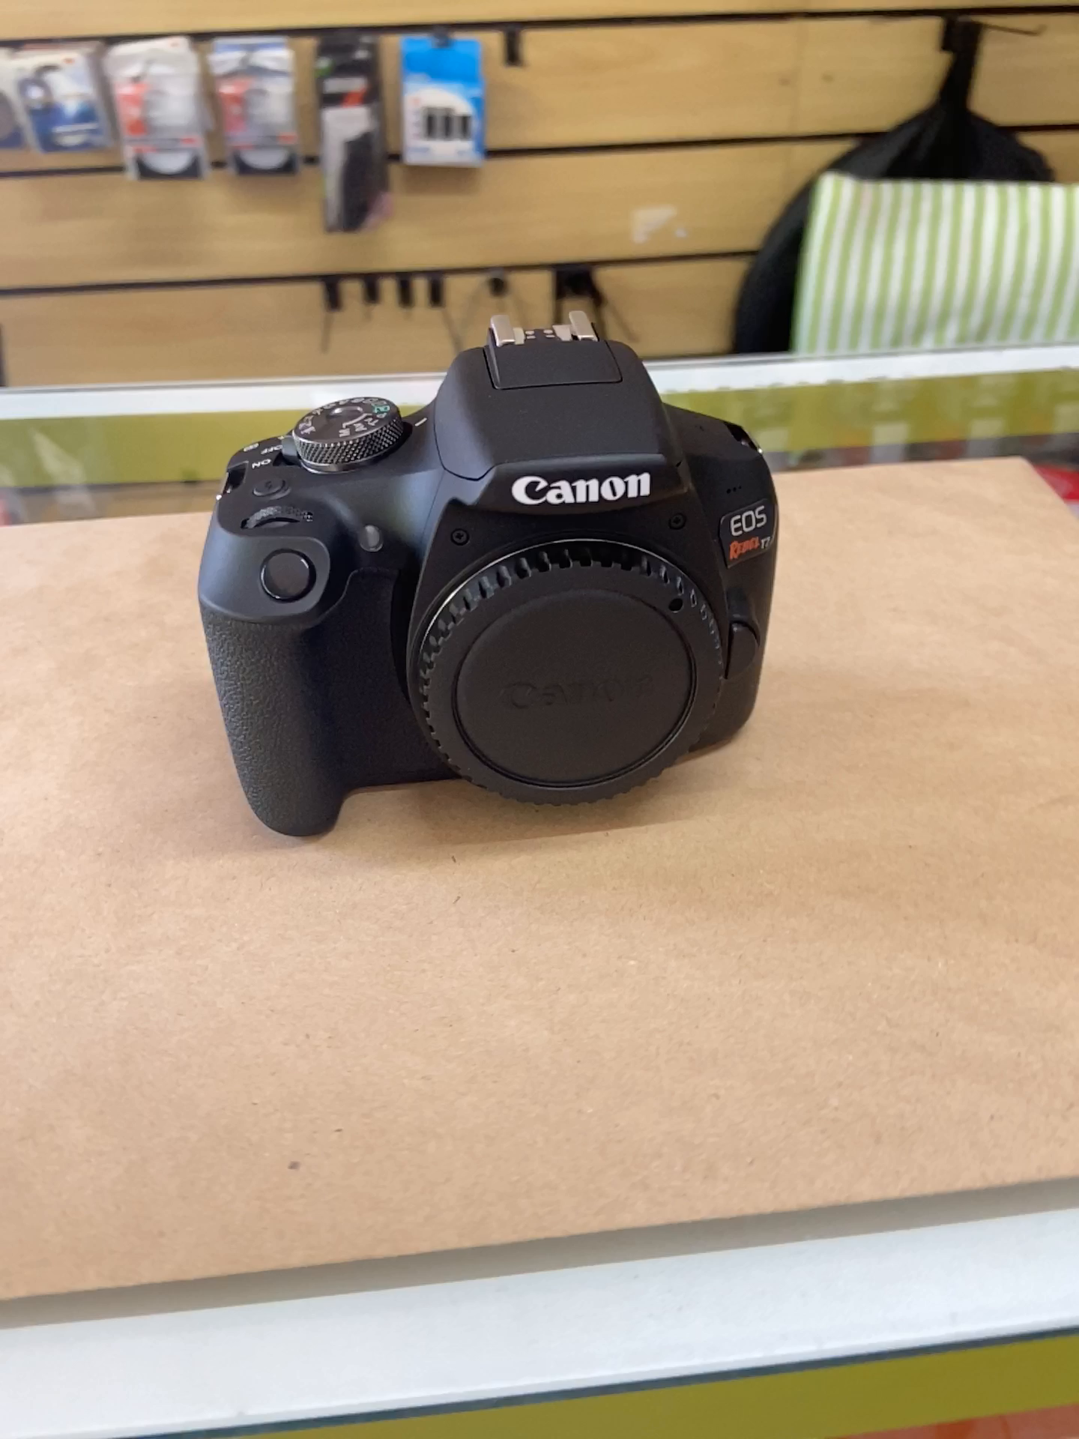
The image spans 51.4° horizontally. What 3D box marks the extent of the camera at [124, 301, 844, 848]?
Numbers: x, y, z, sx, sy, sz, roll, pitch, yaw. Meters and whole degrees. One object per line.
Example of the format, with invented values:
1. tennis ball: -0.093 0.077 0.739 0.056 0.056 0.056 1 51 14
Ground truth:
1. camera: -0.011 -0.035 0.259 0.130 0.092 0.072 -5 37 -4
